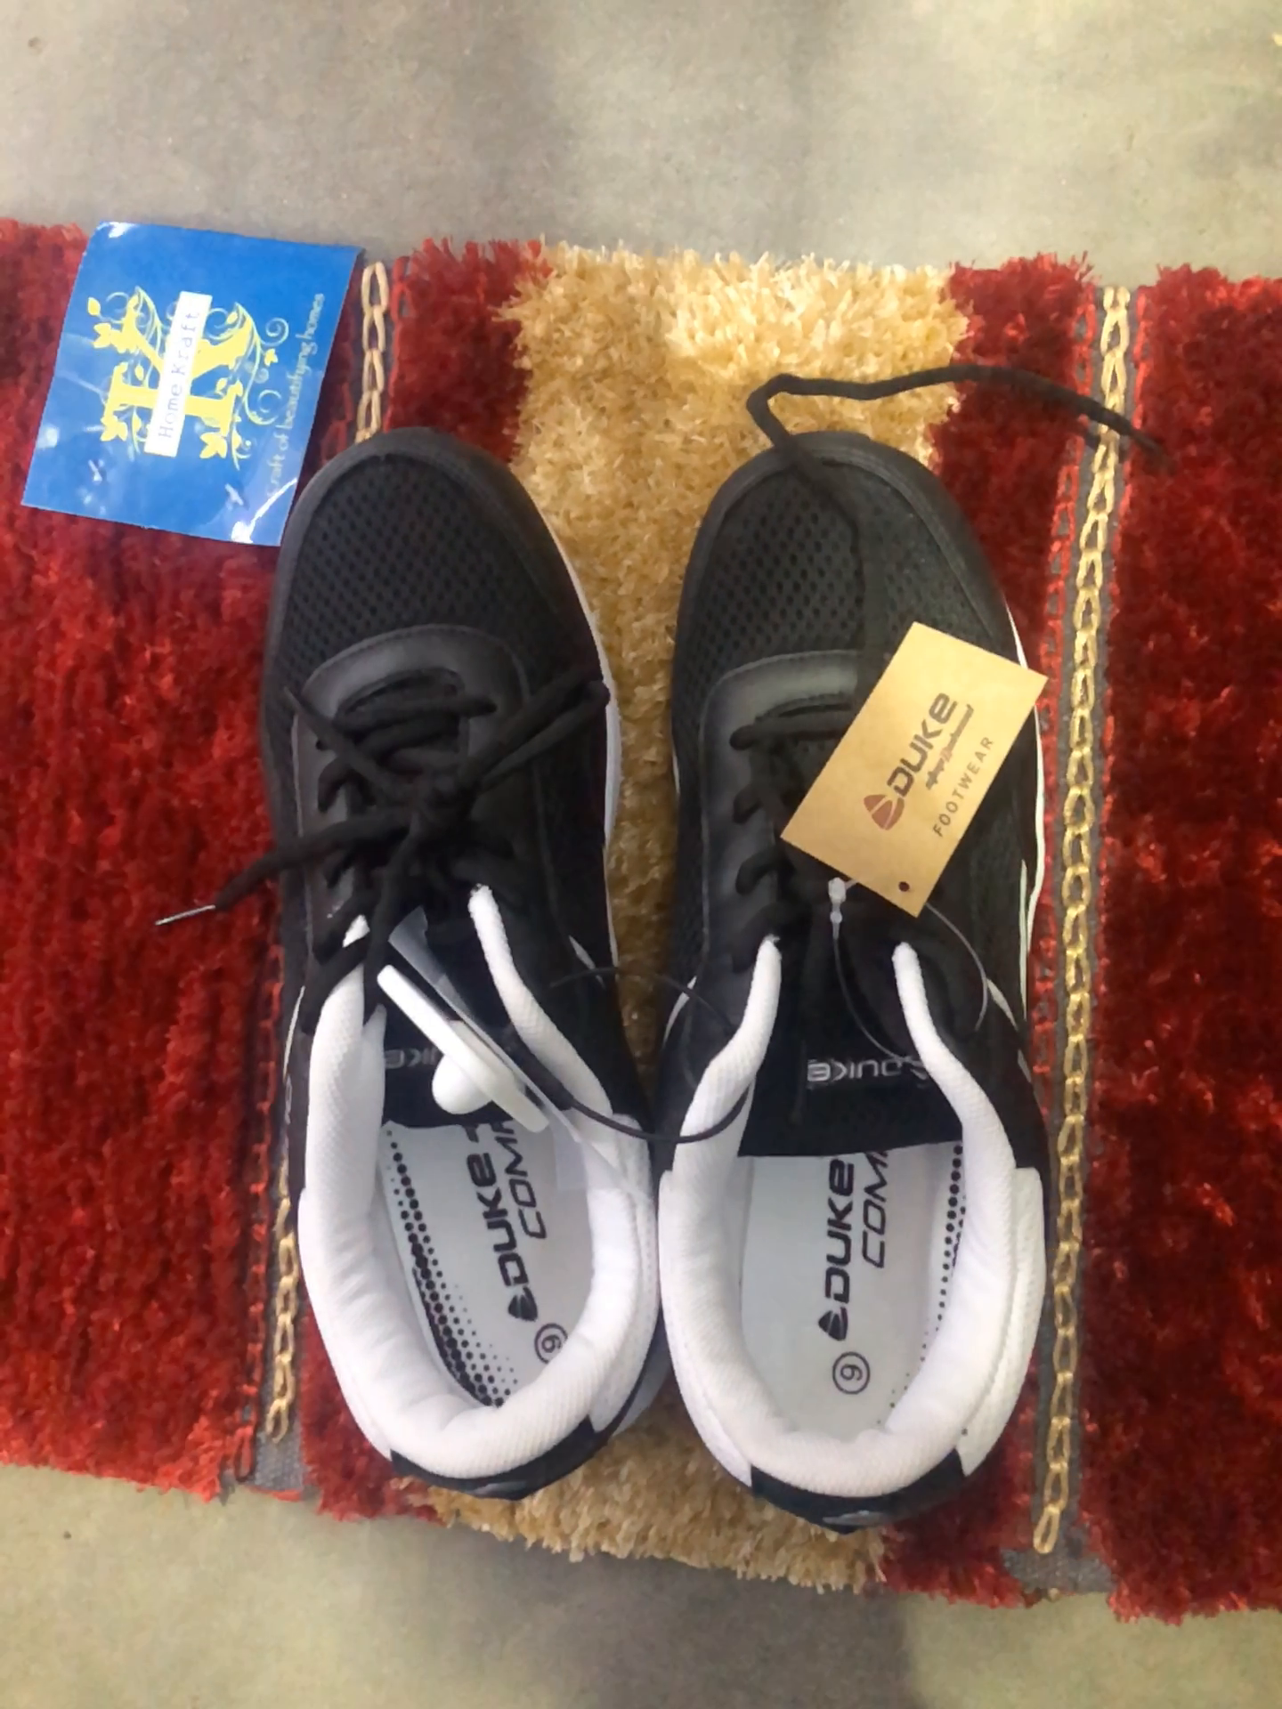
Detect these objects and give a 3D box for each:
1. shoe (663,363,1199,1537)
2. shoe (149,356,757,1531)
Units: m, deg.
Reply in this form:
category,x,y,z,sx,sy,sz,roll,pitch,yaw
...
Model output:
category,x,y,z,sx,sy,sz,roll,pitch,yaw
shoe,0.065,0.018,0.342,0.110,0.070,0.250,0,84,5
shoe,-0.041,0.019,0.340,0.100,0.070,0.240,-9,84,4
